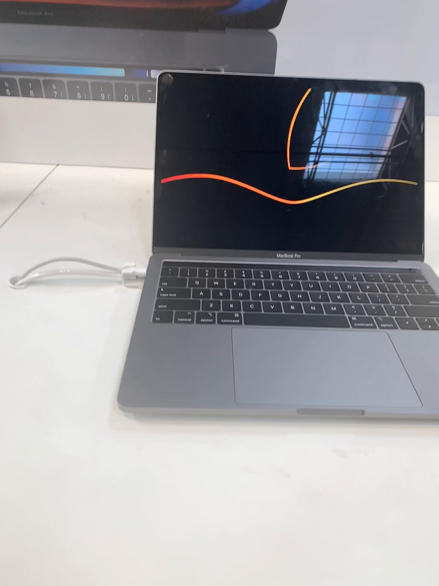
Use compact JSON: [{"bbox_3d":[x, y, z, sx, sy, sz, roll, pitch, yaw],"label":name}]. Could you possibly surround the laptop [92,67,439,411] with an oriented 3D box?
[{"bbox_3d":[0.076,-0.077,0.391,0.284,0.150,0.316,2,36,-2],"label":"laptop"}]
